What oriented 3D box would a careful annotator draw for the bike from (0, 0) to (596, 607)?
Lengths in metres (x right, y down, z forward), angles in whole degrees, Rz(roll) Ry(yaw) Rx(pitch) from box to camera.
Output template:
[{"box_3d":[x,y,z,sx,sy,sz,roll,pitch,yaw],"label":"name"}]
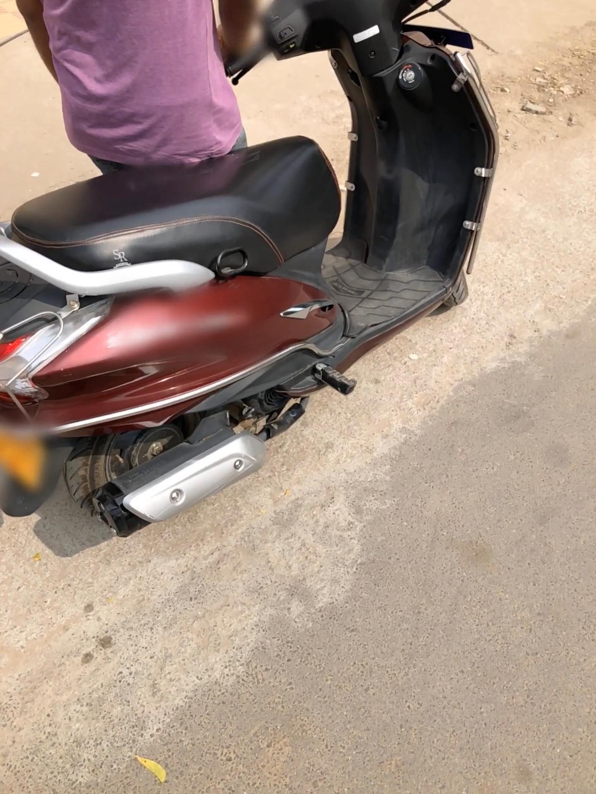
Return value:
[{"box_3d":[-0.065,-0.507,1.715,0.675,1.125,1.624,33,56,25],"label":"bike"}]
